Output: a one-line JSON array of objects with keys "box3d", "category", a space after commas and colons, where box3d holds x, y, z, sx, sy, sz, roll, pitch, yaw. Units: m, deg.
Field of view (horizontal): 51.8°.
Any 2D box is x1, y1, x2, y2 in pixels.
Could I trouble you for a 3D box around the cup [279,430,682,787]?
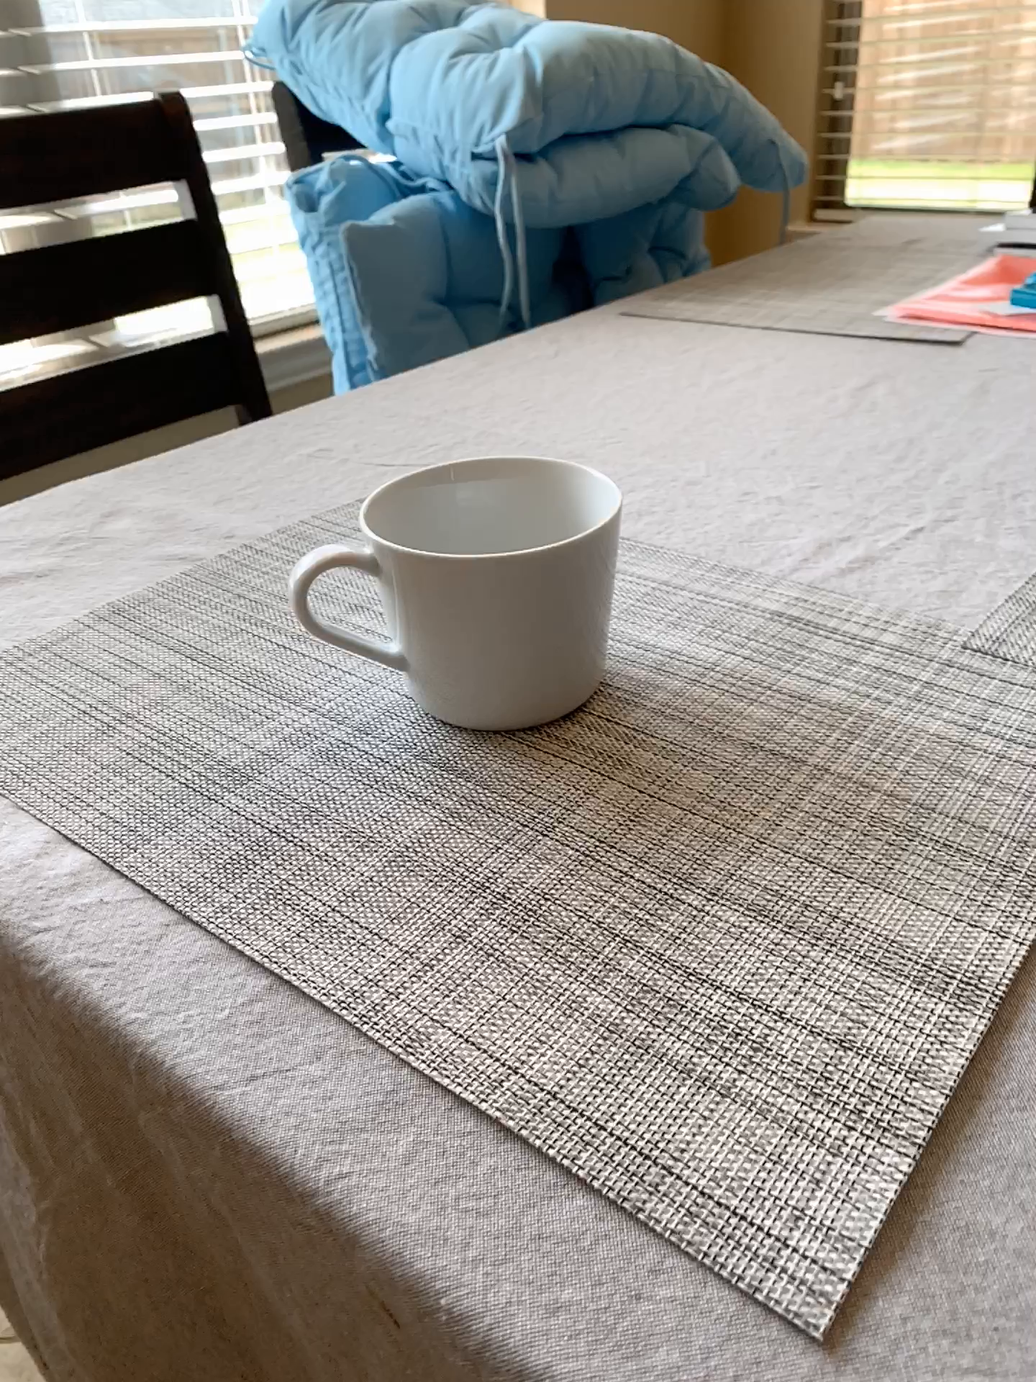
[{"box3d": [-0.015, -0.039, 0.421, 0.121, 0.081, 0.100, -17, 33, -21], "category": "cup"}]
